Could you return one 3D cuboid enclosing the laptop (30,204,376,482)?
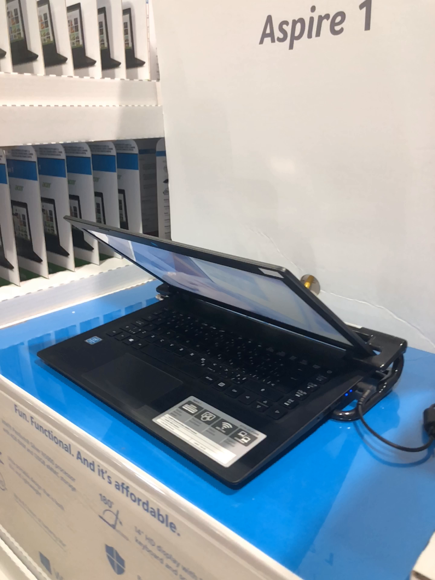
[{"bbox_3d":[-0.032,0.014,0.540,0.206,0.145,0.334,-21,27,-40],"label":"laptop"}]
